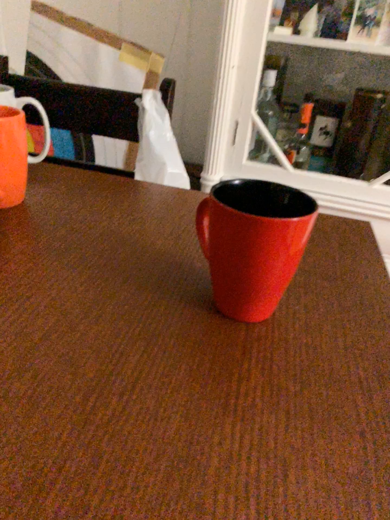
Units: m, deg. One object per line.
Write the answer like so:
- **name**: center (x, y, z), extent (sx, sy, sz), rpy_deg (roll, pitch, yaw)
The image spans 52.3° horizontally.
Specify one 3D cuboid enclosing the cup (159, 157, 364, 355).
- **cup**: center (0.043, -0.014, 0.330), extent (0.090, 0.099, 0.131), rpy_deg (-13, 35, -30)
